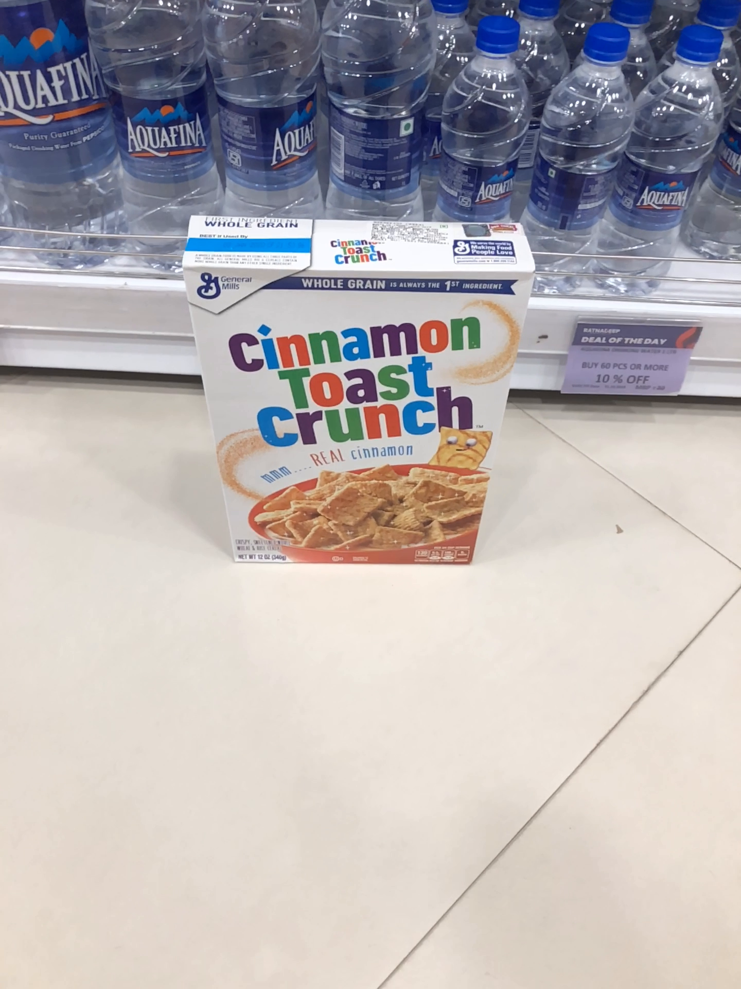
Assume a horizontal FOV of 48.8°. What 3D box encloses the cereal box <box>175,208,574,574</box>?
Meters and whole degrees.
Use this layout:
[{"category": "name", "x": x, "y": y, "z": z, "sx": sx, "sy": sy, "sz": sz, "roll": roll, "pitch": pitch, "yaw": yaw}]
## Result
[{"category": "cereal box", "x": -0.002, "y": -0.047, "z": 0.538, "sx": 0.200, "sy": 0.278, "sz": 0.060, "roll": 0, "pitch": 53, "yaw": -2}]
